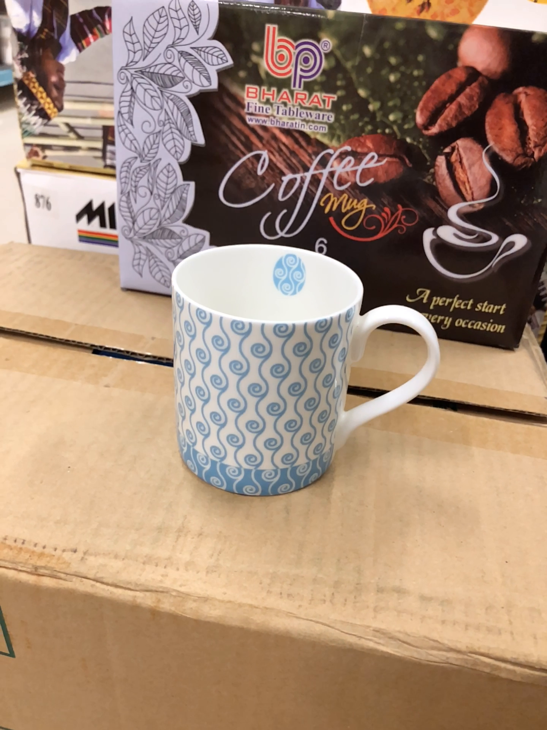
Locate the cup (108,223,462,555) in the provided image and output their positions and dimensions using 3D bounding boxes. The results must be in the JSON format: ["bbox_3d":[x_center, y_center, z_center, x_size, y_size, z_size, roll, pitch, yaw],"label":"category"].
[{"bbox_3d":[0.005,0.006,0.240,0.110,0.089,0.070,9,33,6],"label":"cup"}]
